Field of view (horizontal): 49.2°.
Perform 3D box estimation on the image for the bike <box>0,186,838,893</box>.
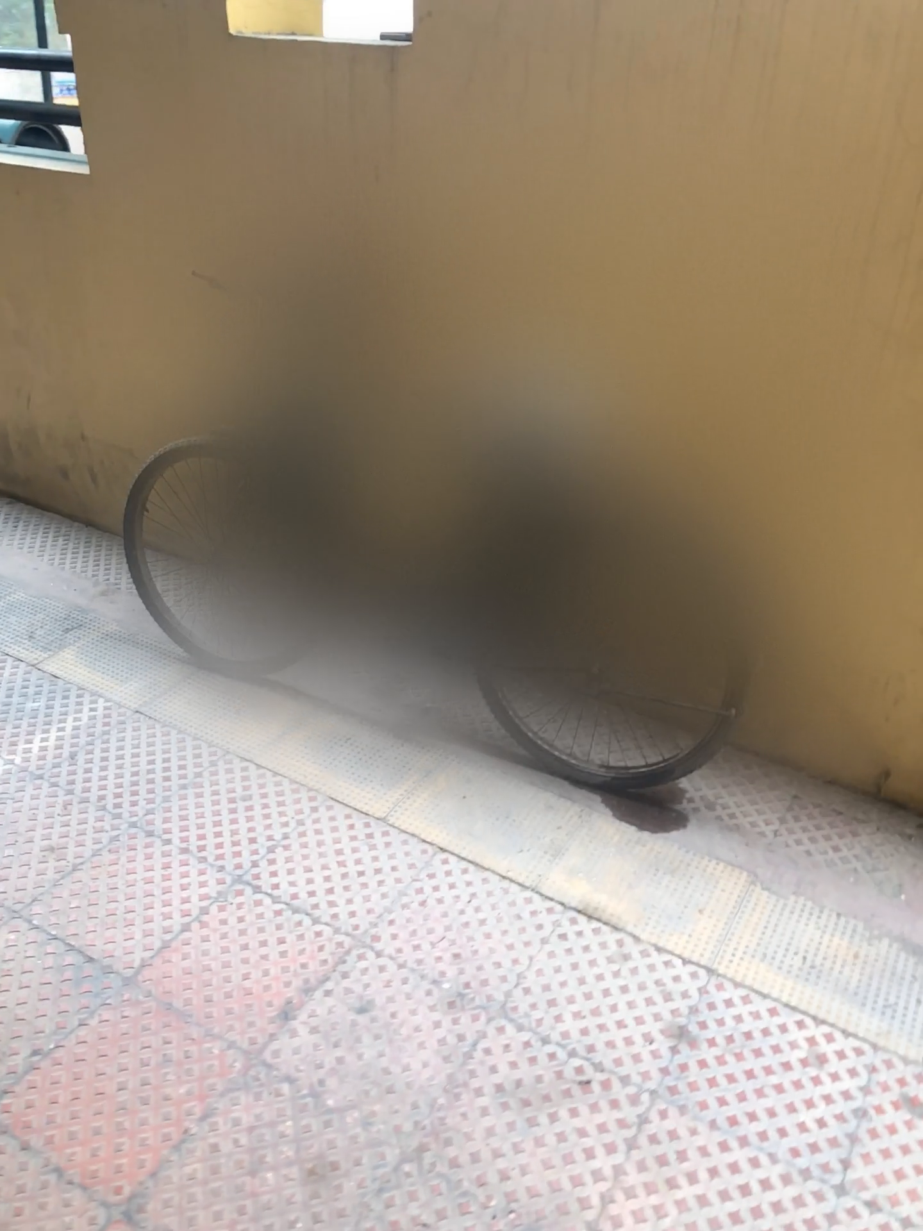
[{"bbox_3d":[-0.166,-0.228,2.151,1.547,0.998,0.543,17,33,19],"label":"bike"}]
